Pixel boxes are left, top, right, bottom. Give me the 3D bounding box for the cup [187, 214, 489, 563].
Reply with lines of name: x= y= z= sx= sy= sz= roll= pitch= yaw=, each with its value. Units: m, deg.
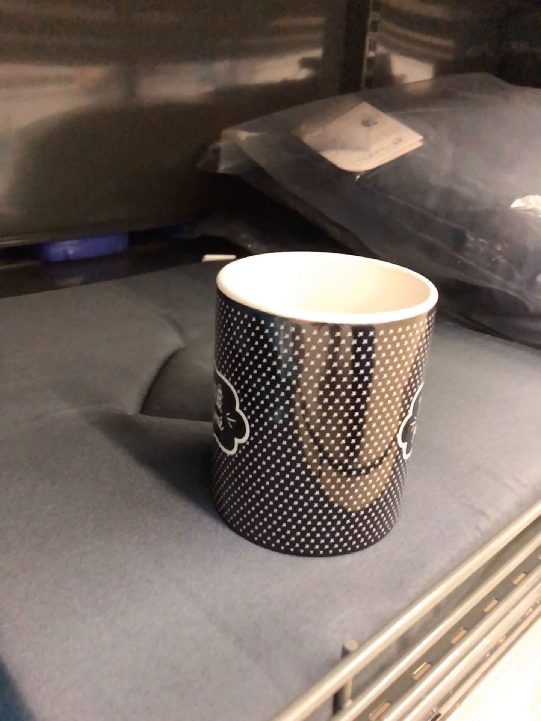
cup: x=0.019 y=0.001 z=0.253 sx=0.090 sy=0.099 sz=0.121 roll=3 pitch=24 yaw=0
